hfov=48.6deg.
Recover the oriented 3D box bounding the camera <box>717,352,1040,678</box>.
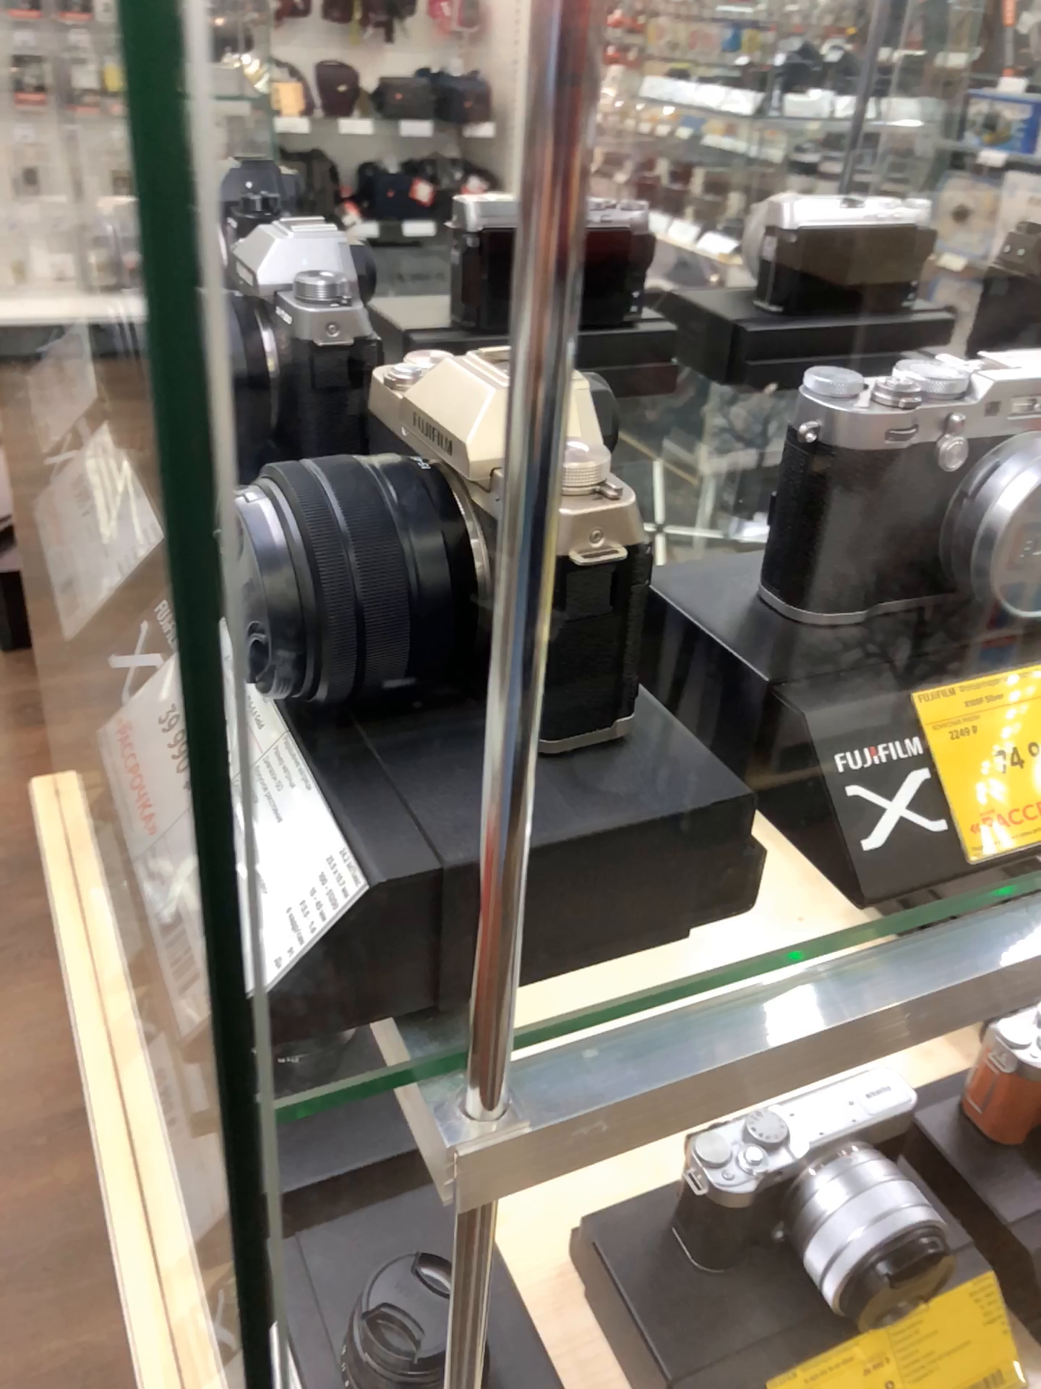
[{"bbox_3d":[0.139,-0.061,0.367,0.132,0.076,0.055,-9,33,-21],"label":"camera"}]

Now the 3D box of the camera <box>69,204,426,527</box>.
[{"bbox_3d":[-0.112,-0.138,0.460,0.102,0.086,0.141,-10,33,-23],"label":"camera"}]

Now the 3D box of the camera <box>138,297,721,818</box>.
[{"bbox_3d":[-0.032,-0.048,0.305,0.100,0.080,0.132,-11,34,-25],"label":"camera"}]
